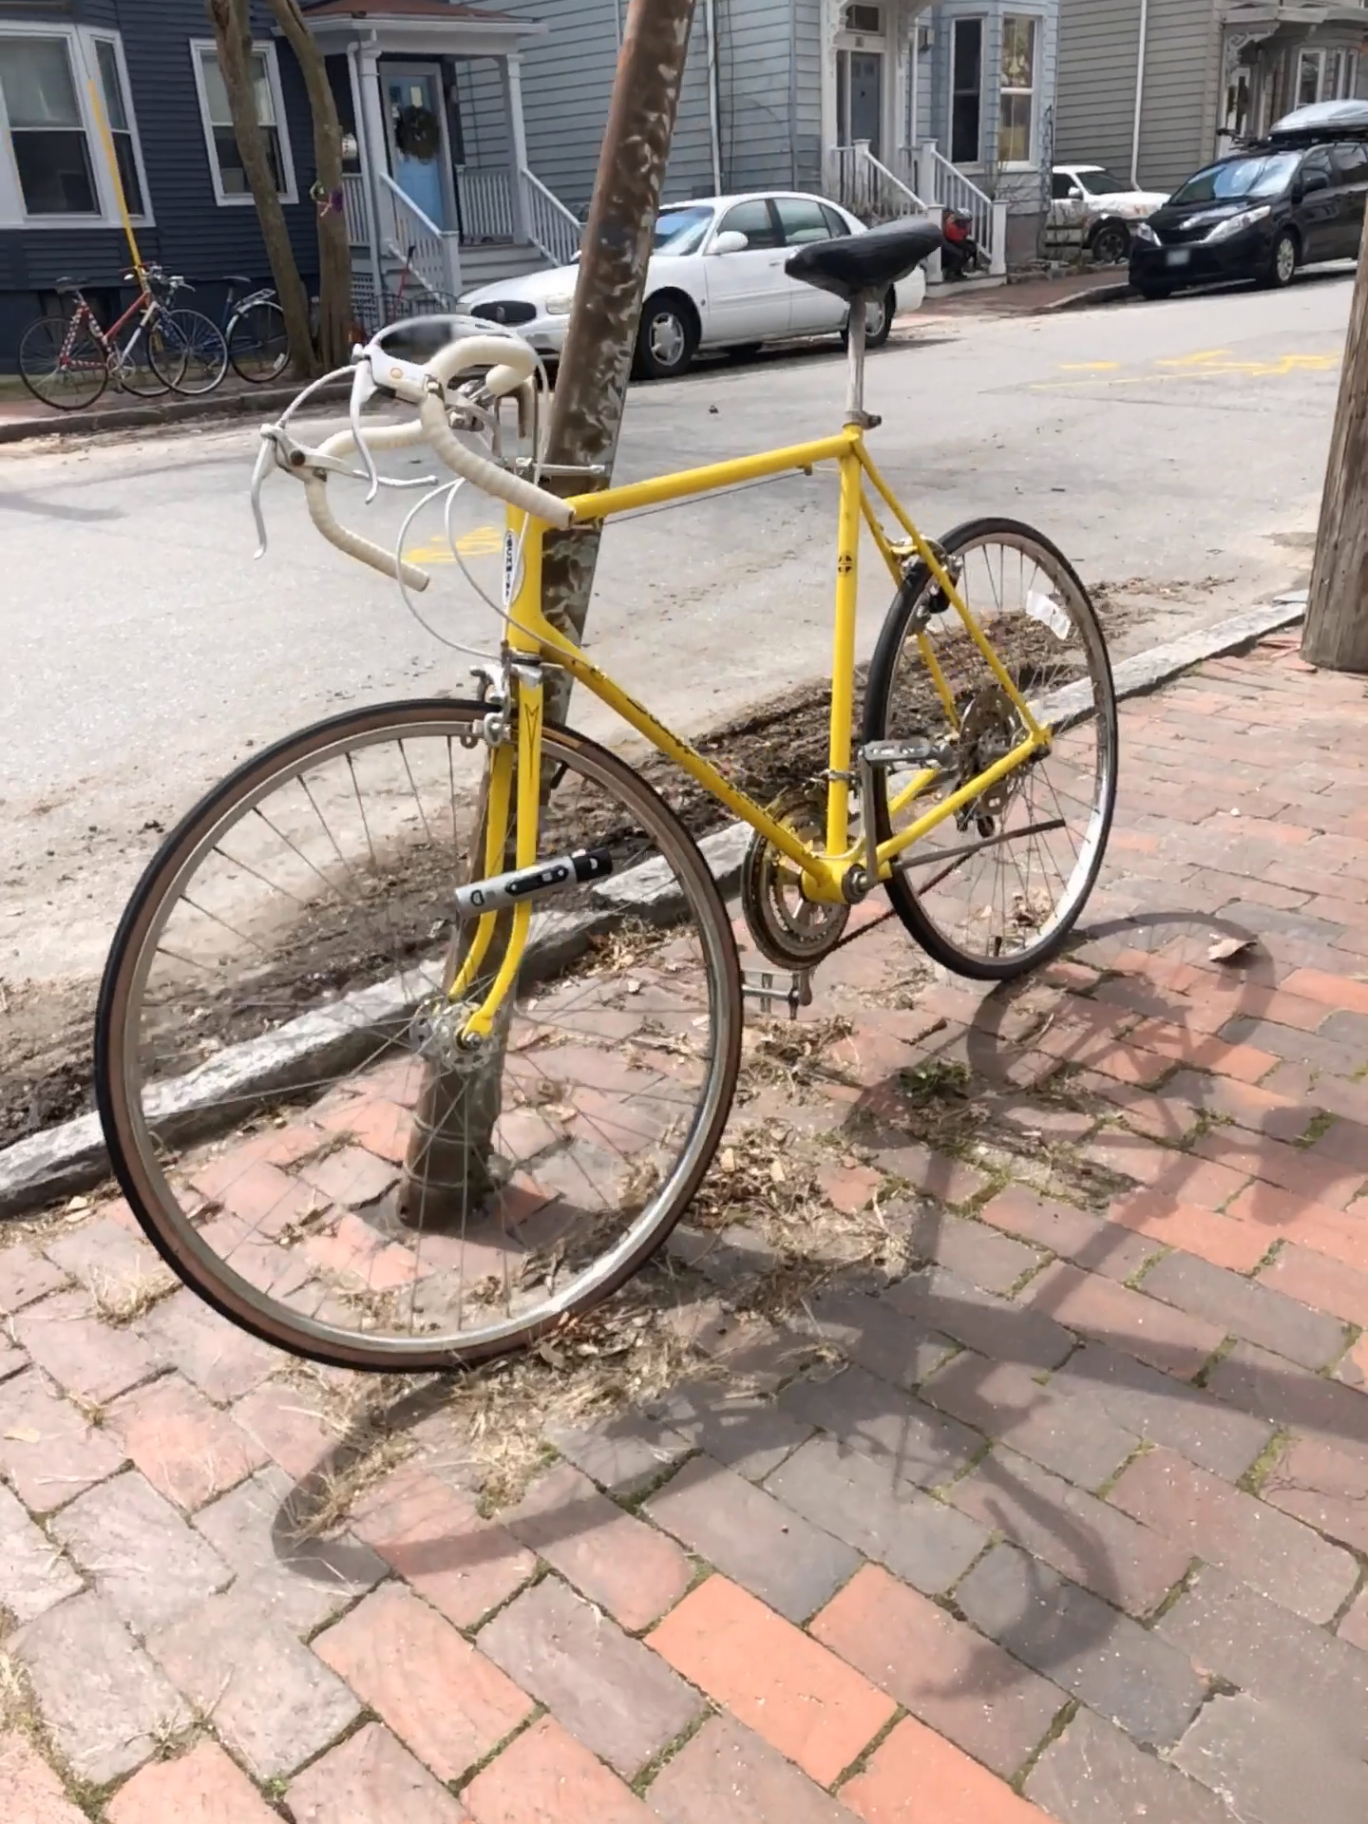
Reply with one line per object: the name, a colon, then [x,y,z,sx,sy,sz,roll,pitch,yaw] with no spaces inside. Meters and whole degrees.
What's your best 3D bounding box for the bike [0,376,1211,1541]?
bike: [-0.015,-0.137,1.996,0.539,0.804,1.693,20,36,42]
